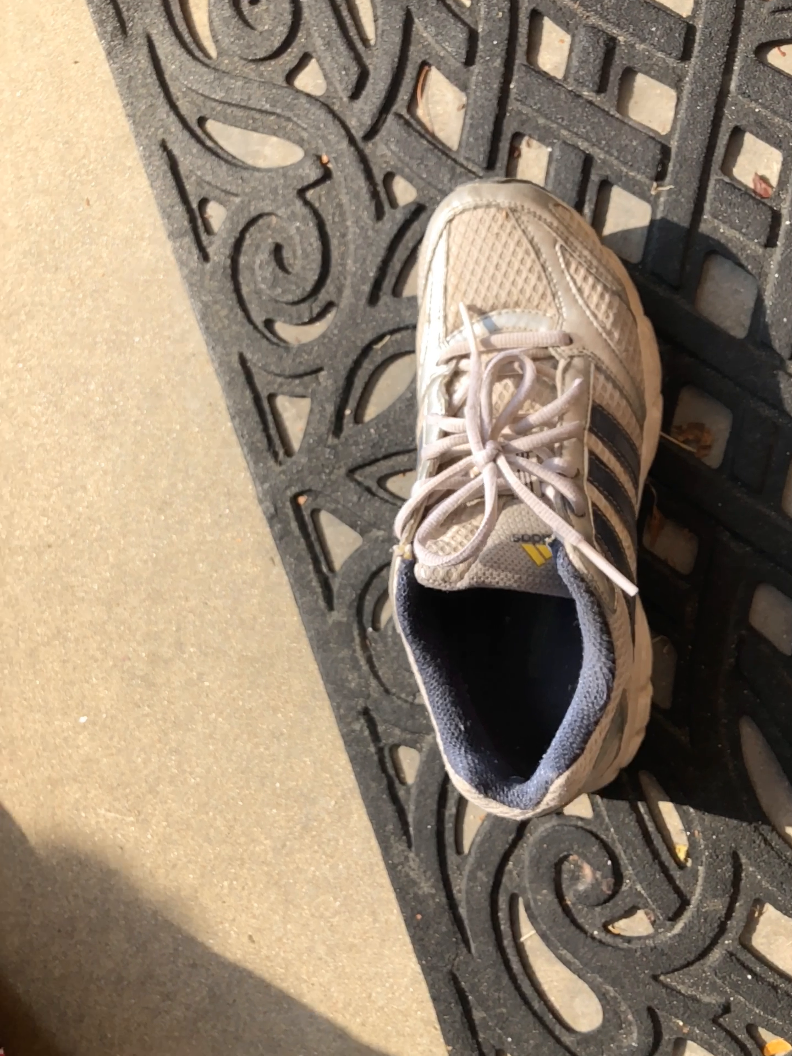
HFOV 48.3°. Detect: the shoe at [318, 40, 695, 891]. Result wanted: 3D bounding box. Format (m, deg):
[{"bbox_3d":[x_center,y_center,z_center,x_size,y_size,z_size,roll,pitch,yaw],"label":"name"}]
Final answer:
[{"bbox_3d":[0.053,-0.018,0.349,0.100,0.130,0.260,-3,91,24],"label":"shoe"}]
